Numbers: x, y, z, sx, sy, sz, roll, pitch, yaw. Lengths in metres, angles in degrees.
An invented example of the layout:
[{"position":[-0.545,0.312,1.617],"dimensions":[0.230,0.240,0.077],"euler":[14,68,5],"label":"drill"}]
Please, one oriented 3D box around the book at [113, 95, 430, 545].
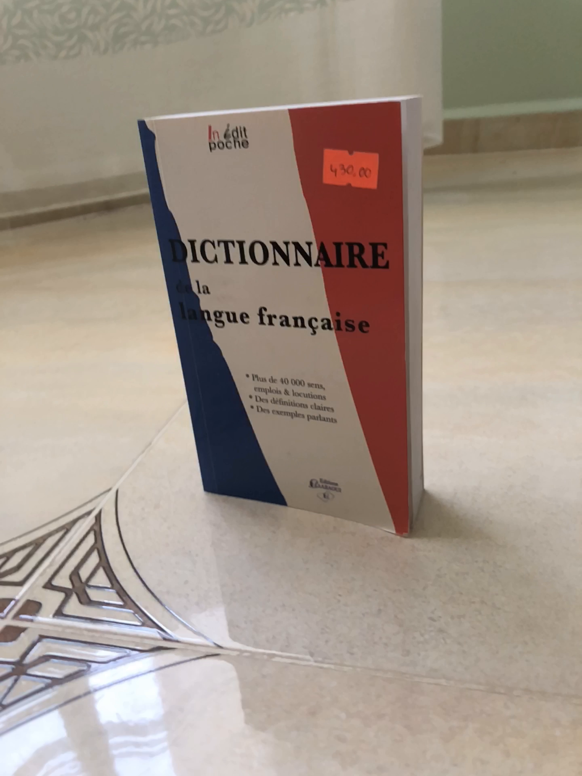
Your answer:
[{"position":[-0.002,-0.026,0.290],"dimensions":[0.121,0.182,0.034],"euler":[7,28,26],"label":"book"}]
